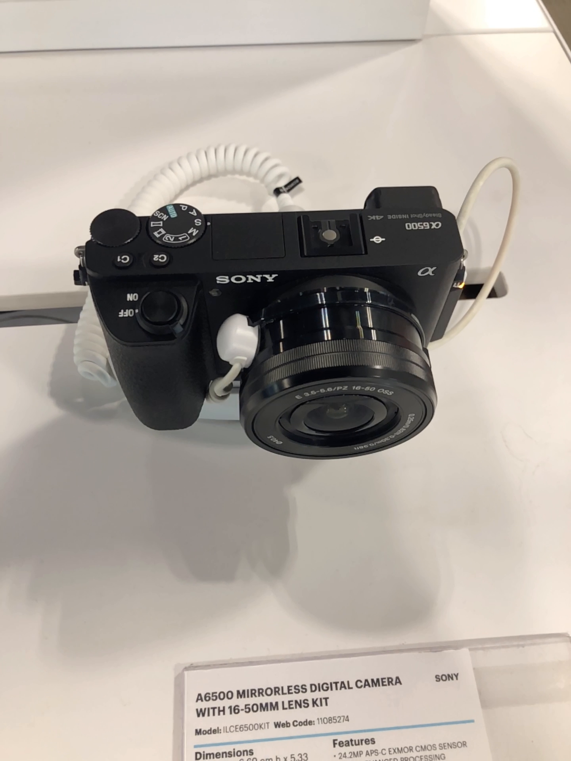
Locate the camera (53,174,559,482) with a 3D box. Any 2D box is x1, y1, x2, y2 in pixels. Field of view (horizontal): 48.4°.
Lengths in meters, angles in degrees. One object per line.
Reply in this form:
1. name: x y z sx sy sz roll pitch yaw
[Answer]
1. camera: 0.003 -0.017 0.222 0.140 0.070 0.070 -4 59 -5
